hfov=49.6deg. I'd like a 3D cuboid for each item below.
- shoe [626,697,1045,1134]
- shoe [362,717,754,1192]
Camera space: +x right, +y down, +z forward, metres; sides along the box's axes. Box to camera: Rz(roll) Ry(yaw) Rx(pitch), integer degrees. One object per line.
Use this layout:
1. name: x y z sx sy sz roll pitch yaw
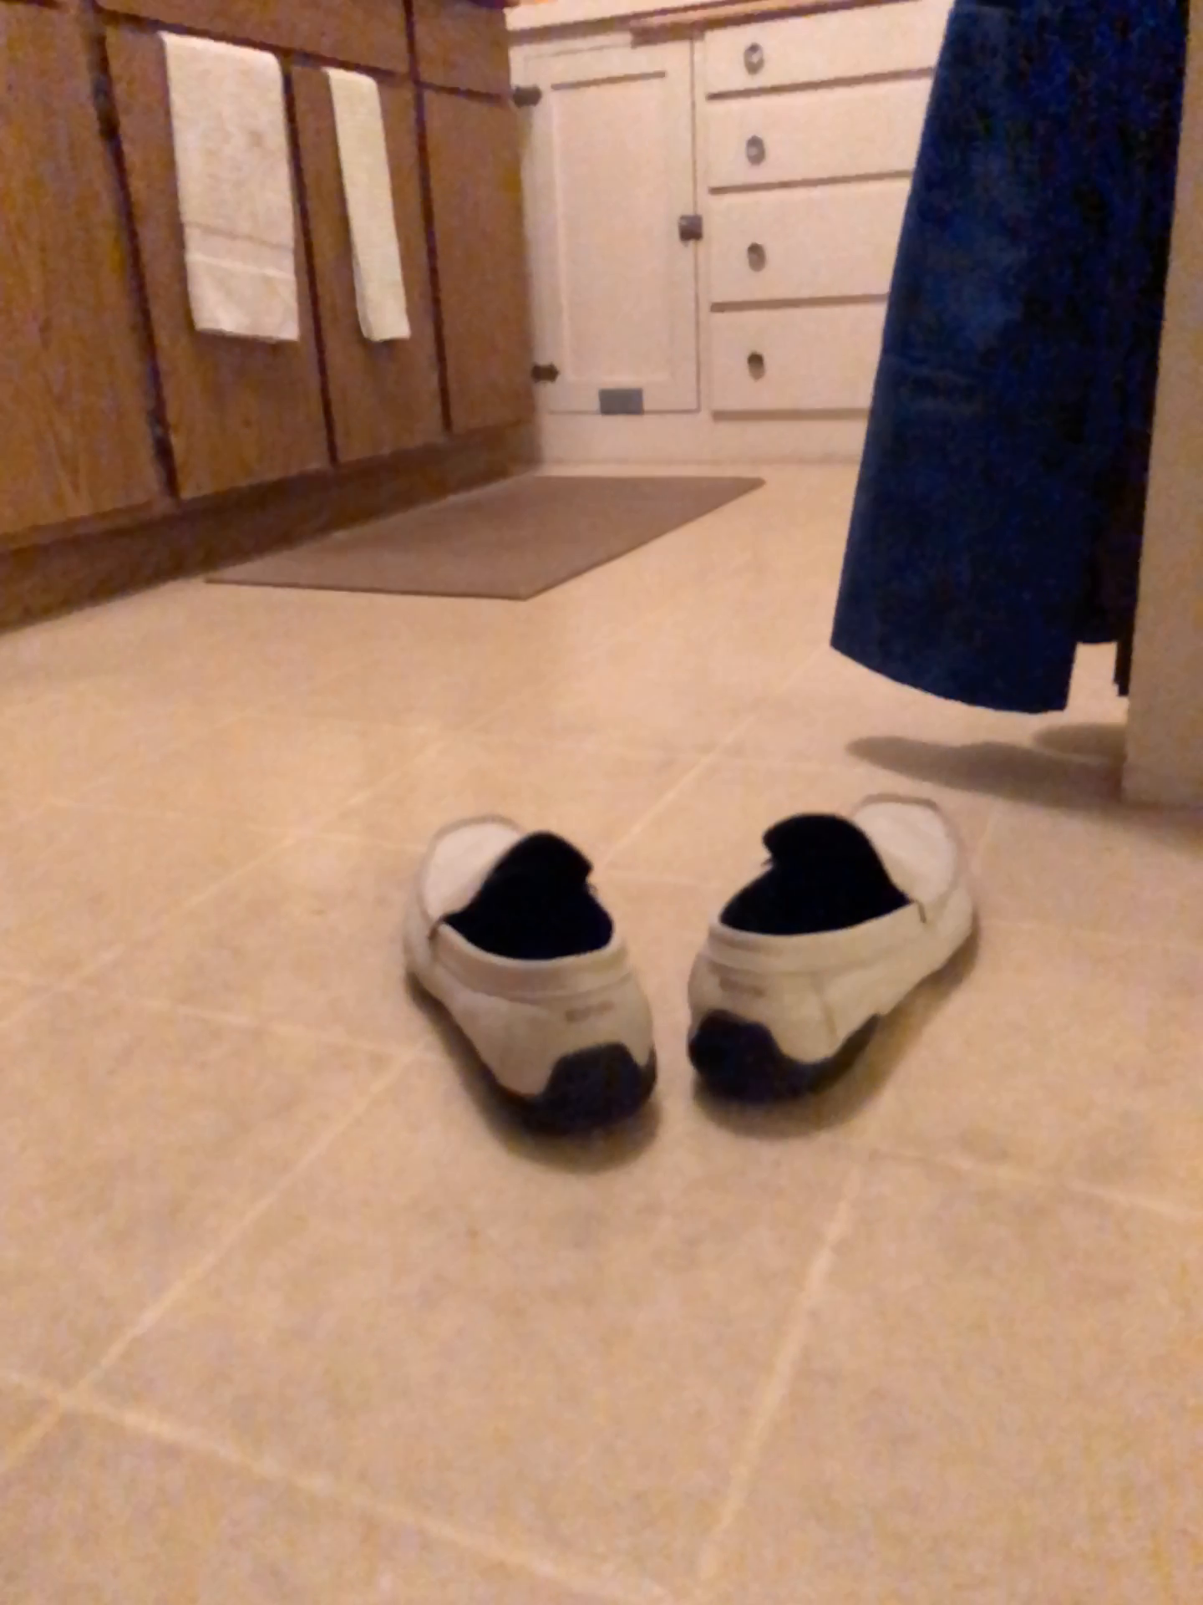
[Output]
1. shoe: 0.135 0.037 0.673 0.110 0.097 0.290 9 24 30
2. shoe: -0.038 0.052 0.662 0.110 0.097 0.308 -10 22 -16
